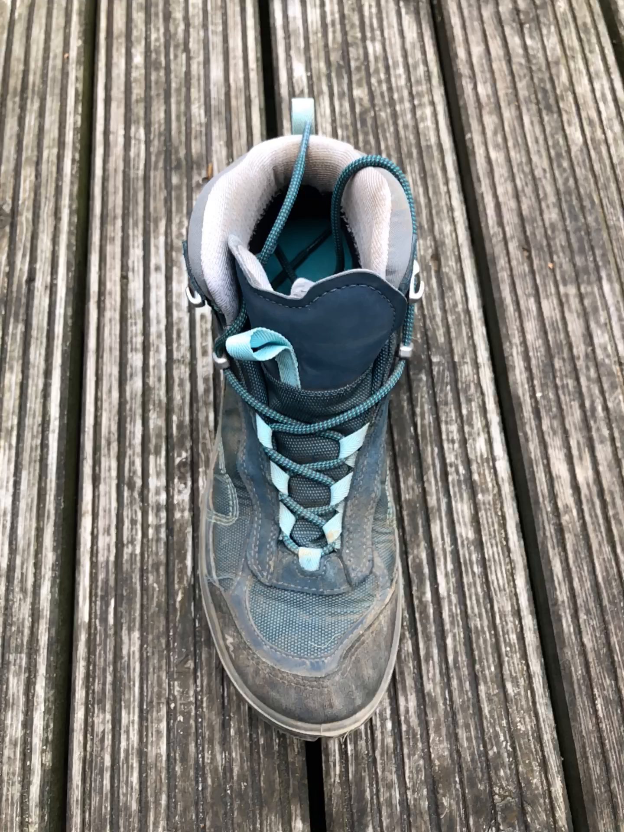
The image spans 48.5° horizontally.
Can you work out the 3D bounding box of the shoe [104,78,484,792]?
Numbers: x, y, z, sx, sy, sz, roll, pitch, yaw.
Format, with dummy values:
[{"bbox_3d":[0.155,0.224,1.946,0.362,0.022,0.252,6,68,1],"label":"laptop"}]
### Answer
[{"bbox_3d":[-0.010,0.003,0.321,0.120,0.120,0.281,-2,71,0],"label":"shoe"}]
